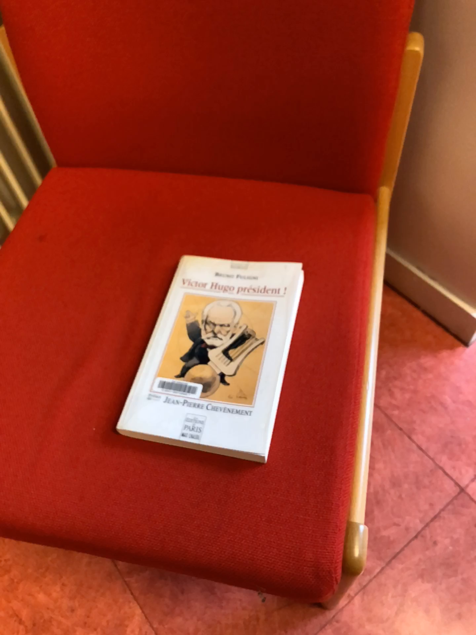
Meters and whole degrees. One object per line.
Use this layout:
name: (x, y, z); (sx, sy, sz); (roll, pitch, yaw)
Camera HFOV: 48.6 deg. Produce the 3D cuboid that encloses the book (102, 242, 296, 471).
book: (-0.030, 0.030, 0.567); (0.151, 0.040, 0.237); (8, 58, 10)
